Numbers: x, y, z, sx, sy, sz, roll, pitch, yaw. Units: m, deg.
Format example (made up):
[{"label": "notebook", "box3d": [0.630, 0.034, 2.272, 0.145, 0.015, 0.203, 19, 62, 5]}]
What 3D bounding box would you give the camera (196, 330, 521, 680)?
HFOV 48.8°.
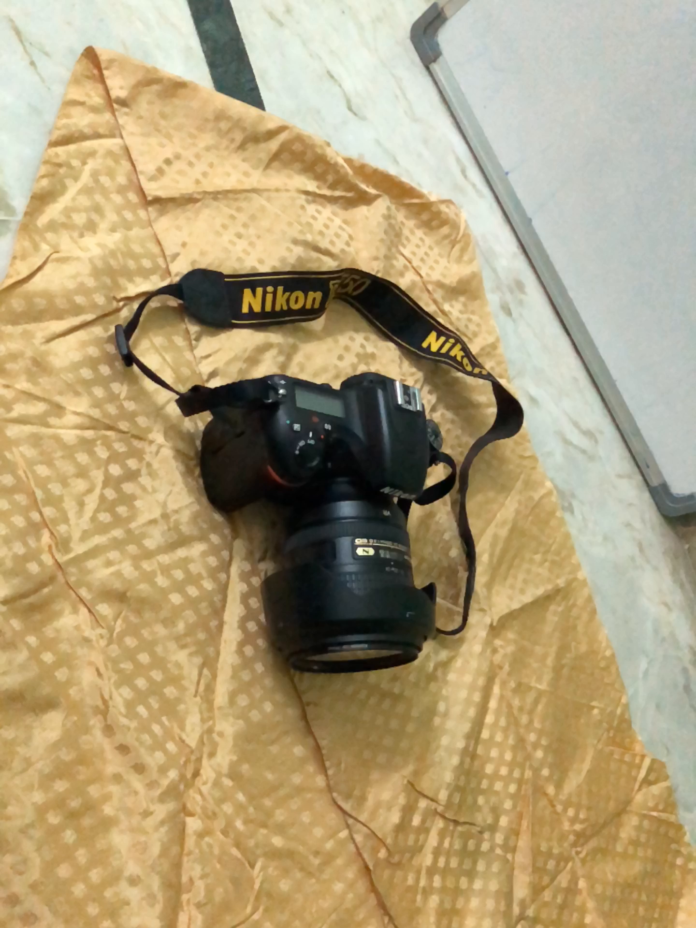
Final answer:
[{"label": "camera", "box3d": [0.003, 0.038, 0.462, 0.149, 0.109, 0.170, 13, 66, -38]}]
